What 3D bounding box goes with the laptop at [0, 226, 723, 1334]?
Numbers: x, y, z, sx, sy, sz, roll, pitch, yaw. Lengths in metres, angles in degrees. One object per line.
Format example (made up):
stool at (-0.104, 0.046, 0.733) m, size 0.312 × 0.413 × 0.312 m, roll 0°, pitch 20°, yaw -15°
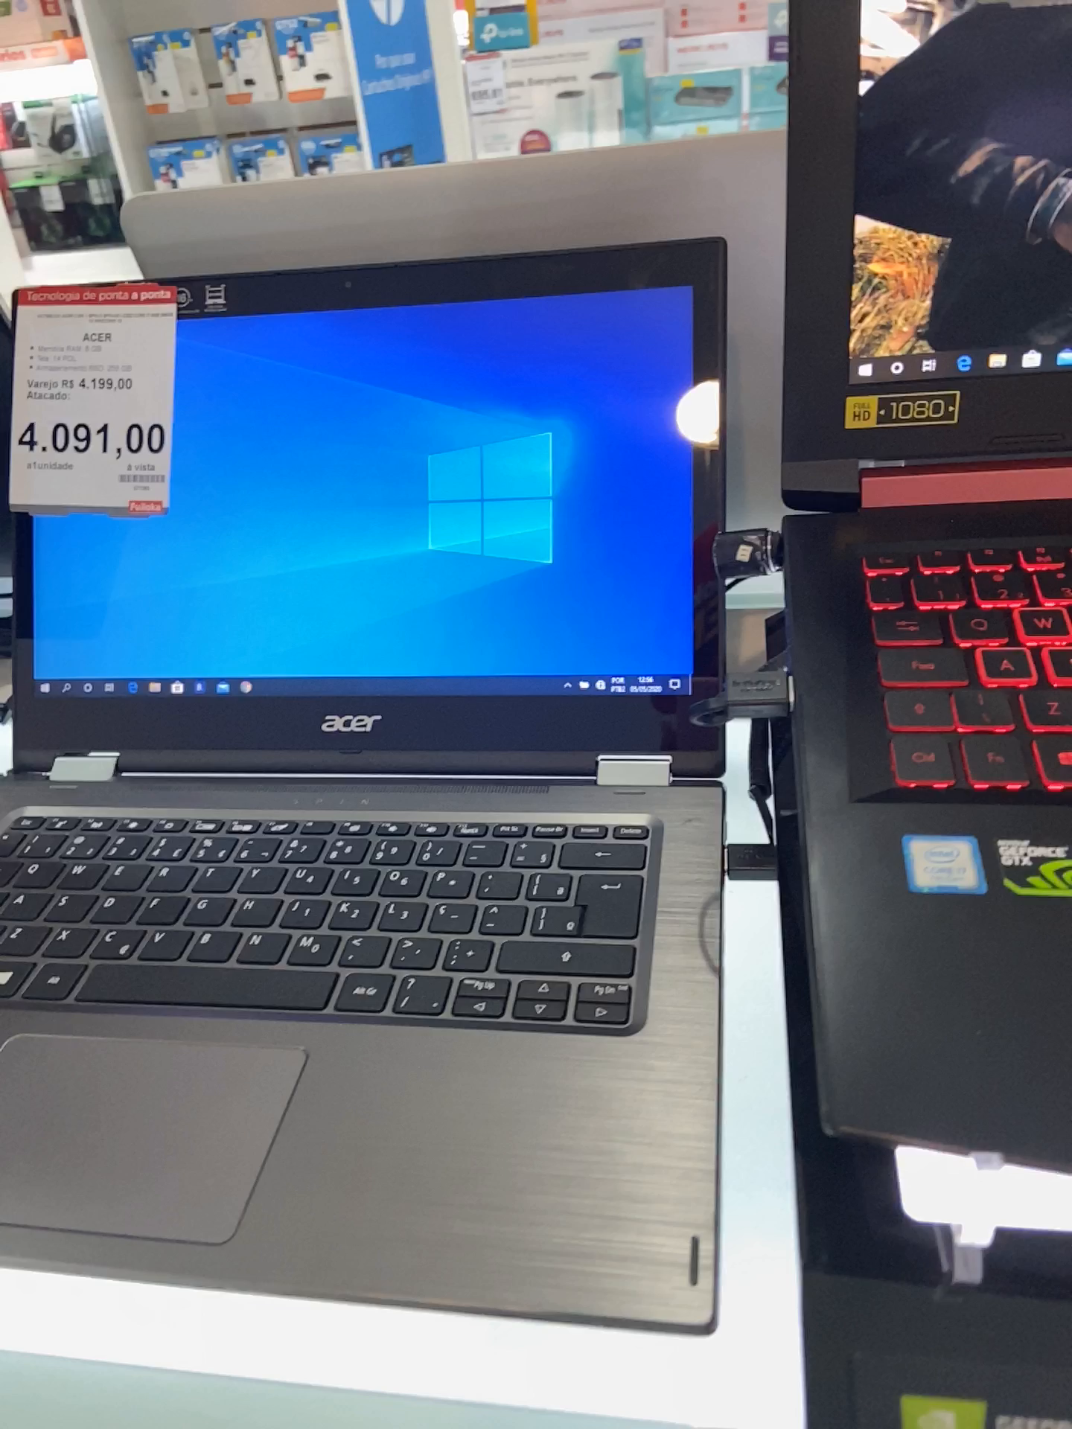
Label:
laptop at (-0.103, -0.028, 0.394) m, size 0.328 × 0.187 × 0.358 m, roll -1°, pitch 33°, yaw 11°
